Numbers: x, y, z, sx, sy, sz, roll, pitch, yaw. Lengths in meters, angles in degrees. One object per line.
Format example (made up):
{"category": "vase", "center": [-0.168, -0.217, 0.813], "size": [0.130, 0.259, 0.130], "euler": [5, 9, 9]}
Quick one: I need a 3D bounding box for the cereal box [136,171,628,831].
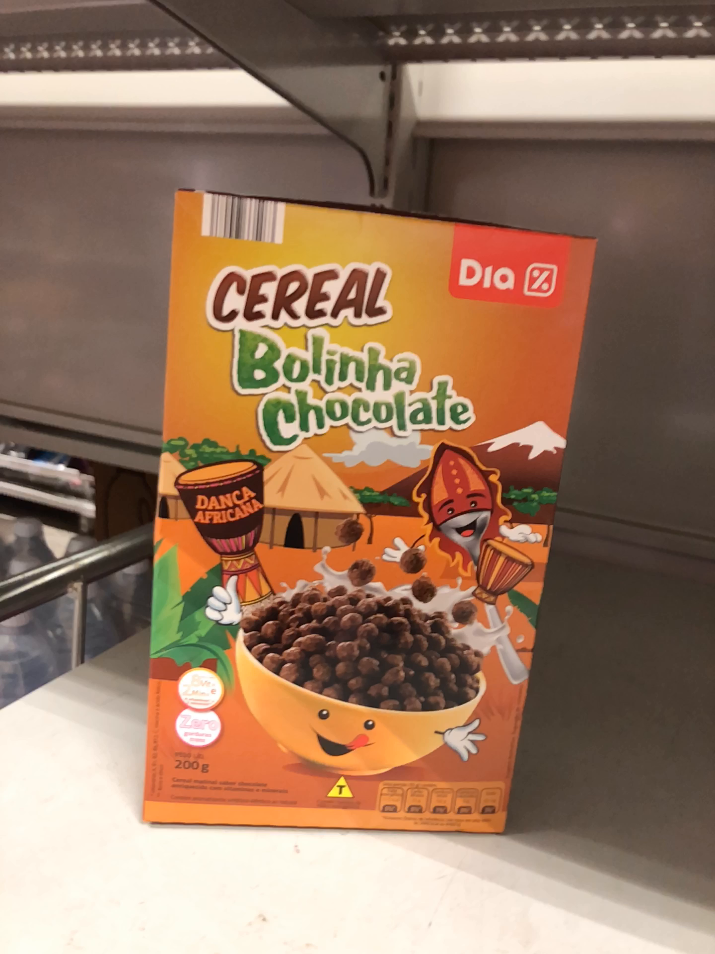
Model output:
{"category": "cereal box", "center": [0.003, 0.017, 0.351], "size": [0.170, 0.259, 0.060], "euler": [5, 10, -7]}
